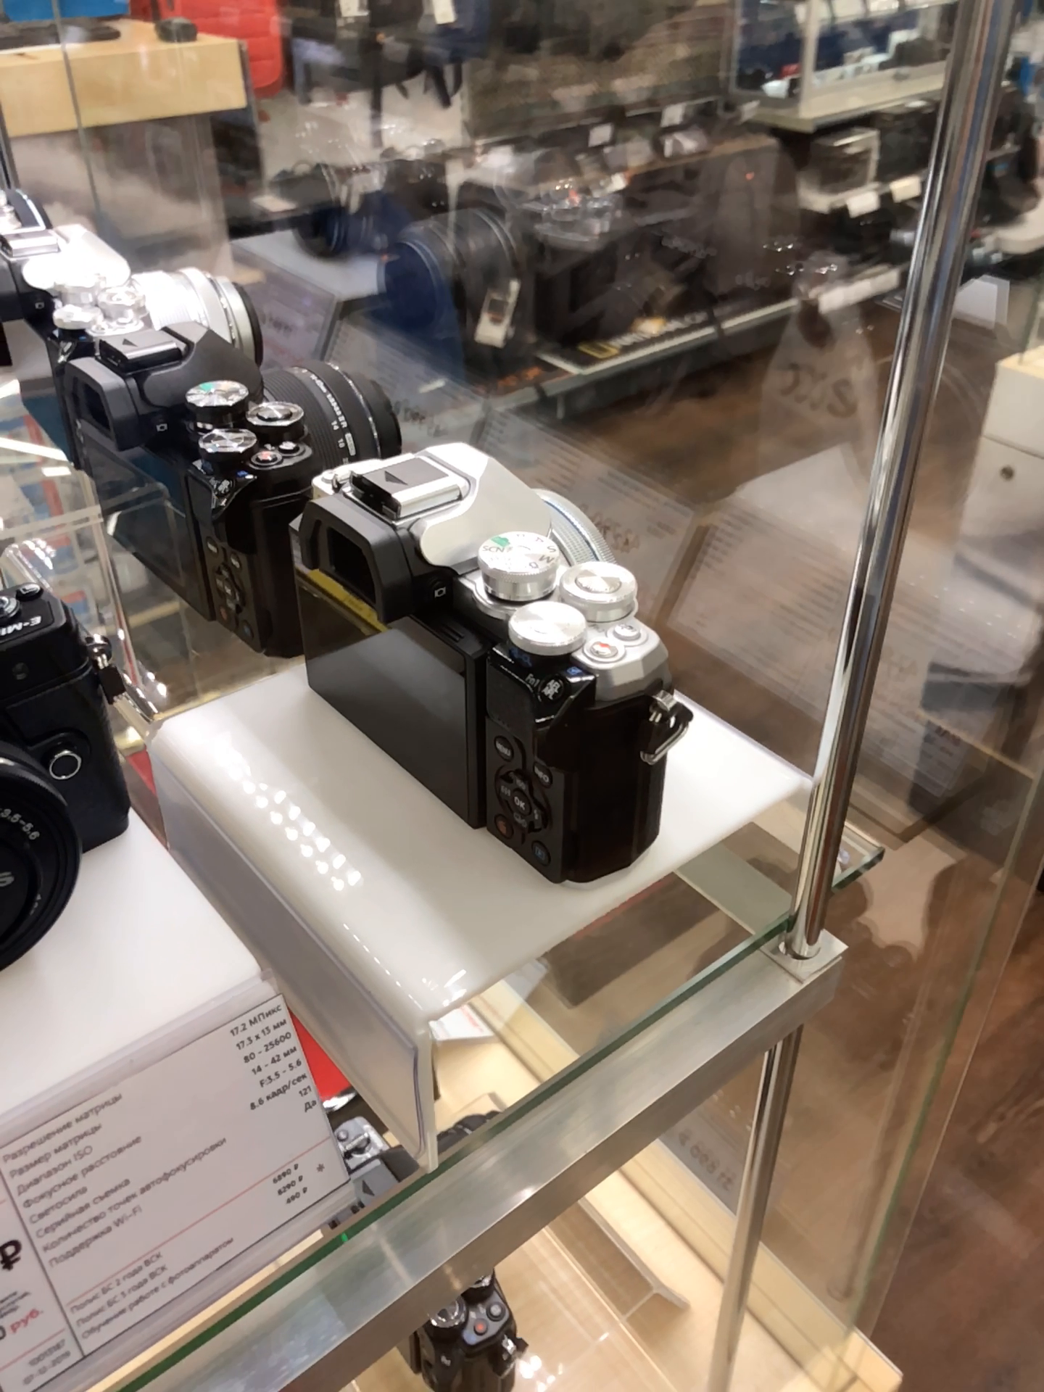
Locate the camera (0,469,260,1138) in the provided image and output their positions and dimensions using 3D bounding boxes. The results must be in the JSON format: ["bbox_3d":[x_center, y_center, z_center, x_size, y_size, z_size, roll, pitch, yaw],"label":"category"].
[{"bbox_3d":[-0.126,0.013,0.239,0.109,0.068,0.078,-26,43,-30],"label":"camera"}]

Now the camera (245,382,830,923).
[{"bbox_3d":[-0.001,-0.020,0.287,0.073,0.067,0.123,-27,44,-31],"label":"camera"}]
